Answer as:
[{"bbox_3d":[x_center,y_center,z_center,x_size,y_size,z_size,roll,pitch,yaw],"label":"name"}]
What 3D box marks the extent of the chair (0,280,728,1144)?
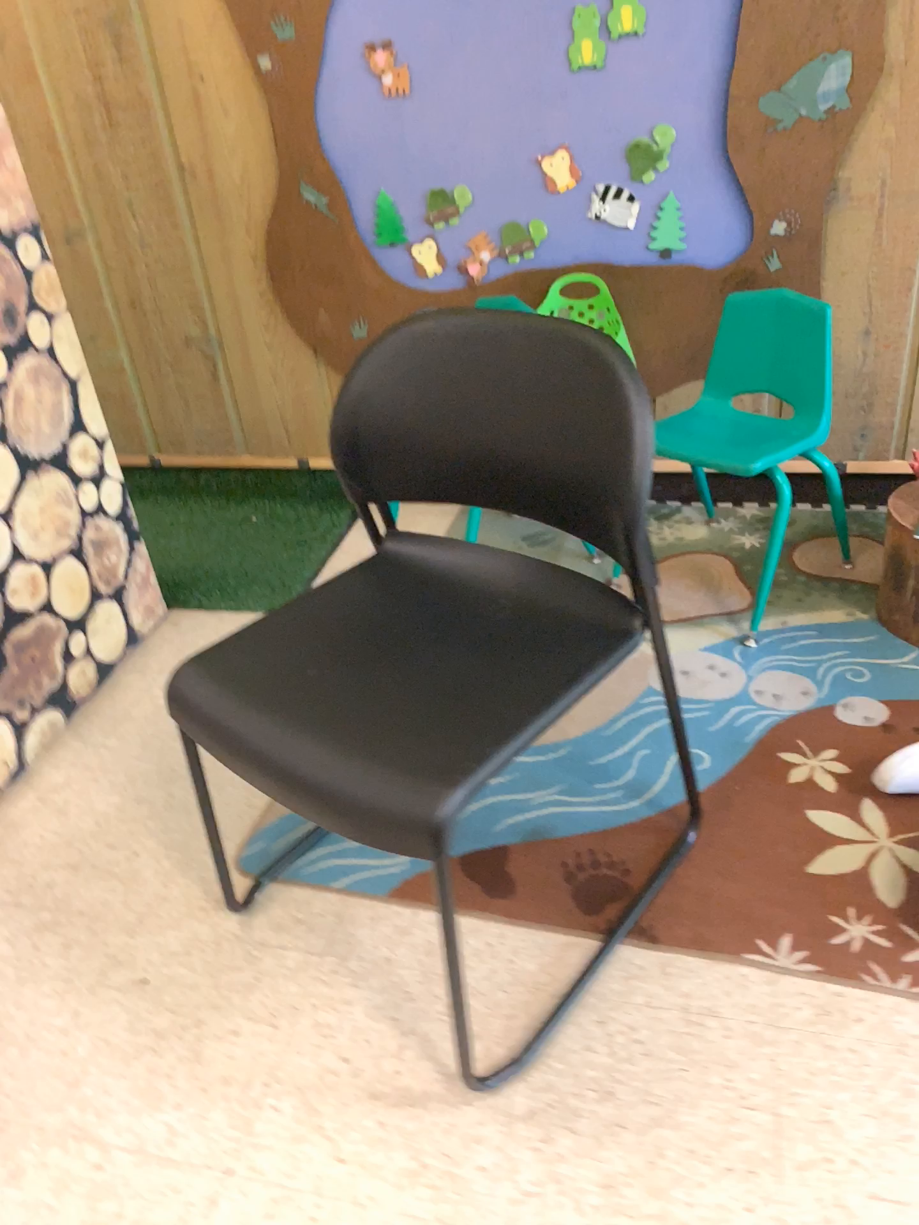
[{"bbox_3d":[-0.075,0.062,1.223,0.592,0.785,0.571,19,40,36],"label":"chair"}]
